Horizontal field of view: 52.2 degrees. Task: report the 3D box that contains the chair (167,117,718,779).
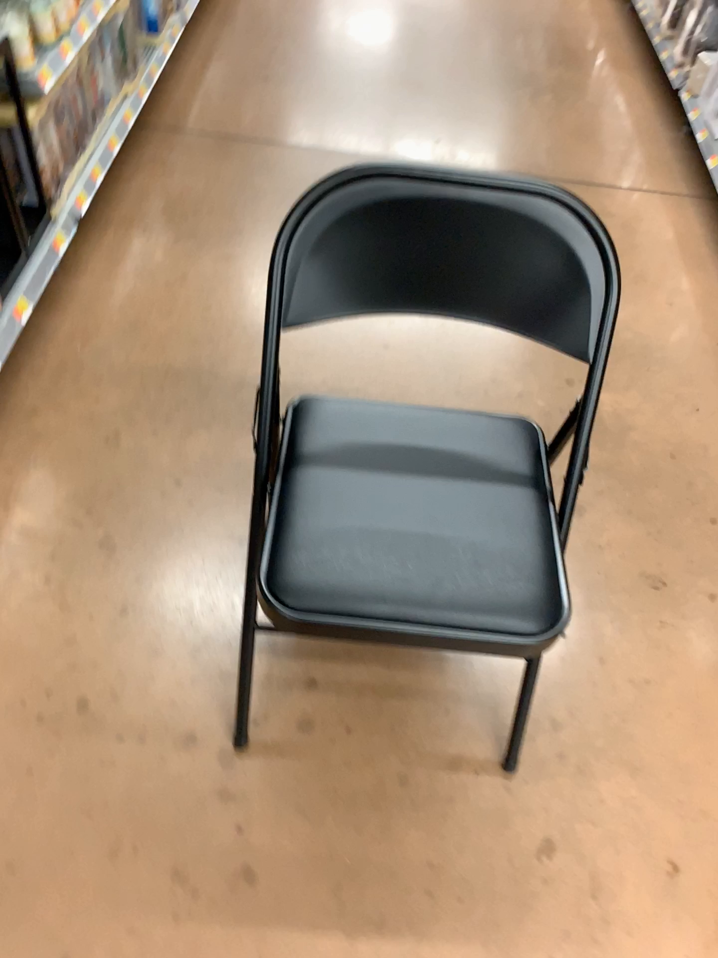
[{"bbox_3d":[0.075,0.020,0.950,0.470,0.697,0.472,6,51,-3],"label":"chair"}]
